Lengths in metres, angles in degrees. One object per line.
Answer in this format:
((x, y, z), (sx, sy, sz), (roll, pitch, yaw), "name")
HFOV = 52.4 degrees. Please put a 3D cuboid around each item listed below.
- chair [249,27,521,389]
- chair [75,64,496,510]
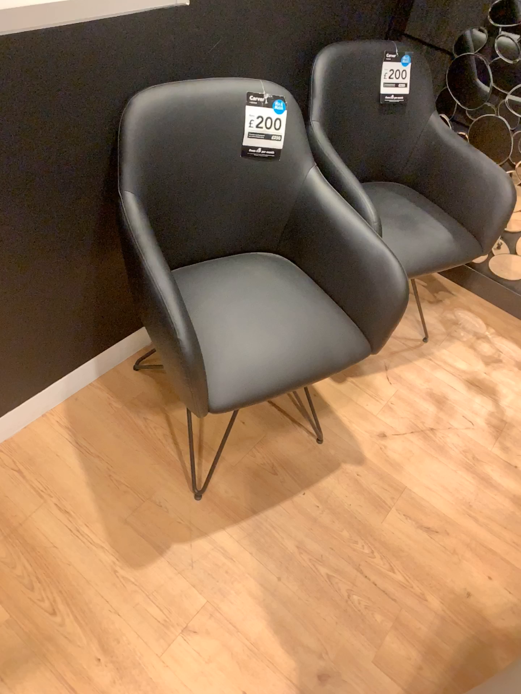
((0.412, -0.434, 1.682), (0.565, 0.836, 0.594), (-21, 55, -27), "chair")
((-0.023, -0.150, 1.301), (0.605, 0.777, 0.595), (-17, 54, -25), "chair")
